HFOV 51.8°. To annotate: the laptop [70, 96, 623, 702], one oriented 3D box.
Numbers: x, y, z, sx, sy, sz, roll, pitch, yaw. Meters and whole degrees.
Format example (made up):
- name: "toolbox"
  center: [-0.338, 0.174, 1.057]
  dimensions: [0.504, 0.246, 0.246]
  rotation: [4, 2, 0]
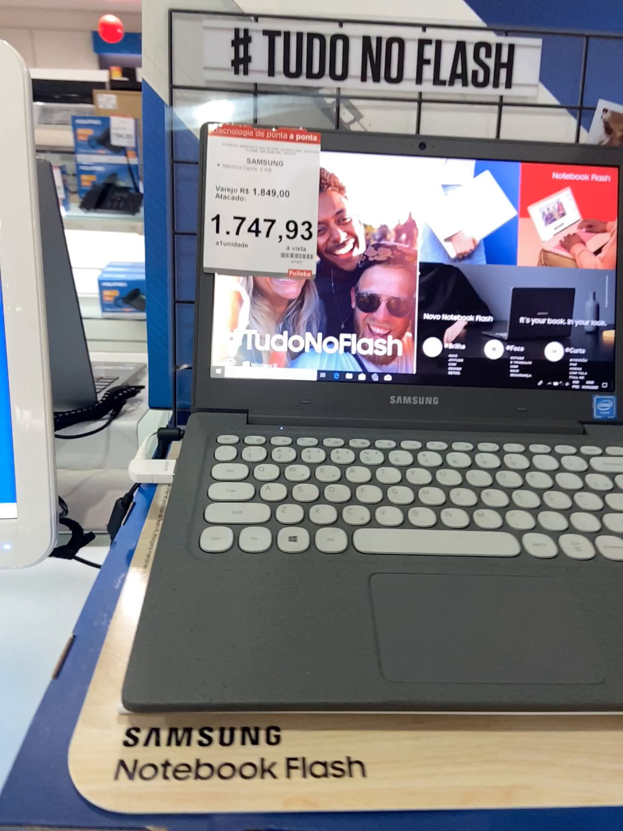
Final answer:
- name: "laptop"
  center: [0.081, -0.057, 0.382]
  dimensions: [0.322, 0.181, 0.346]
  rotation: [1, 31, -3]
